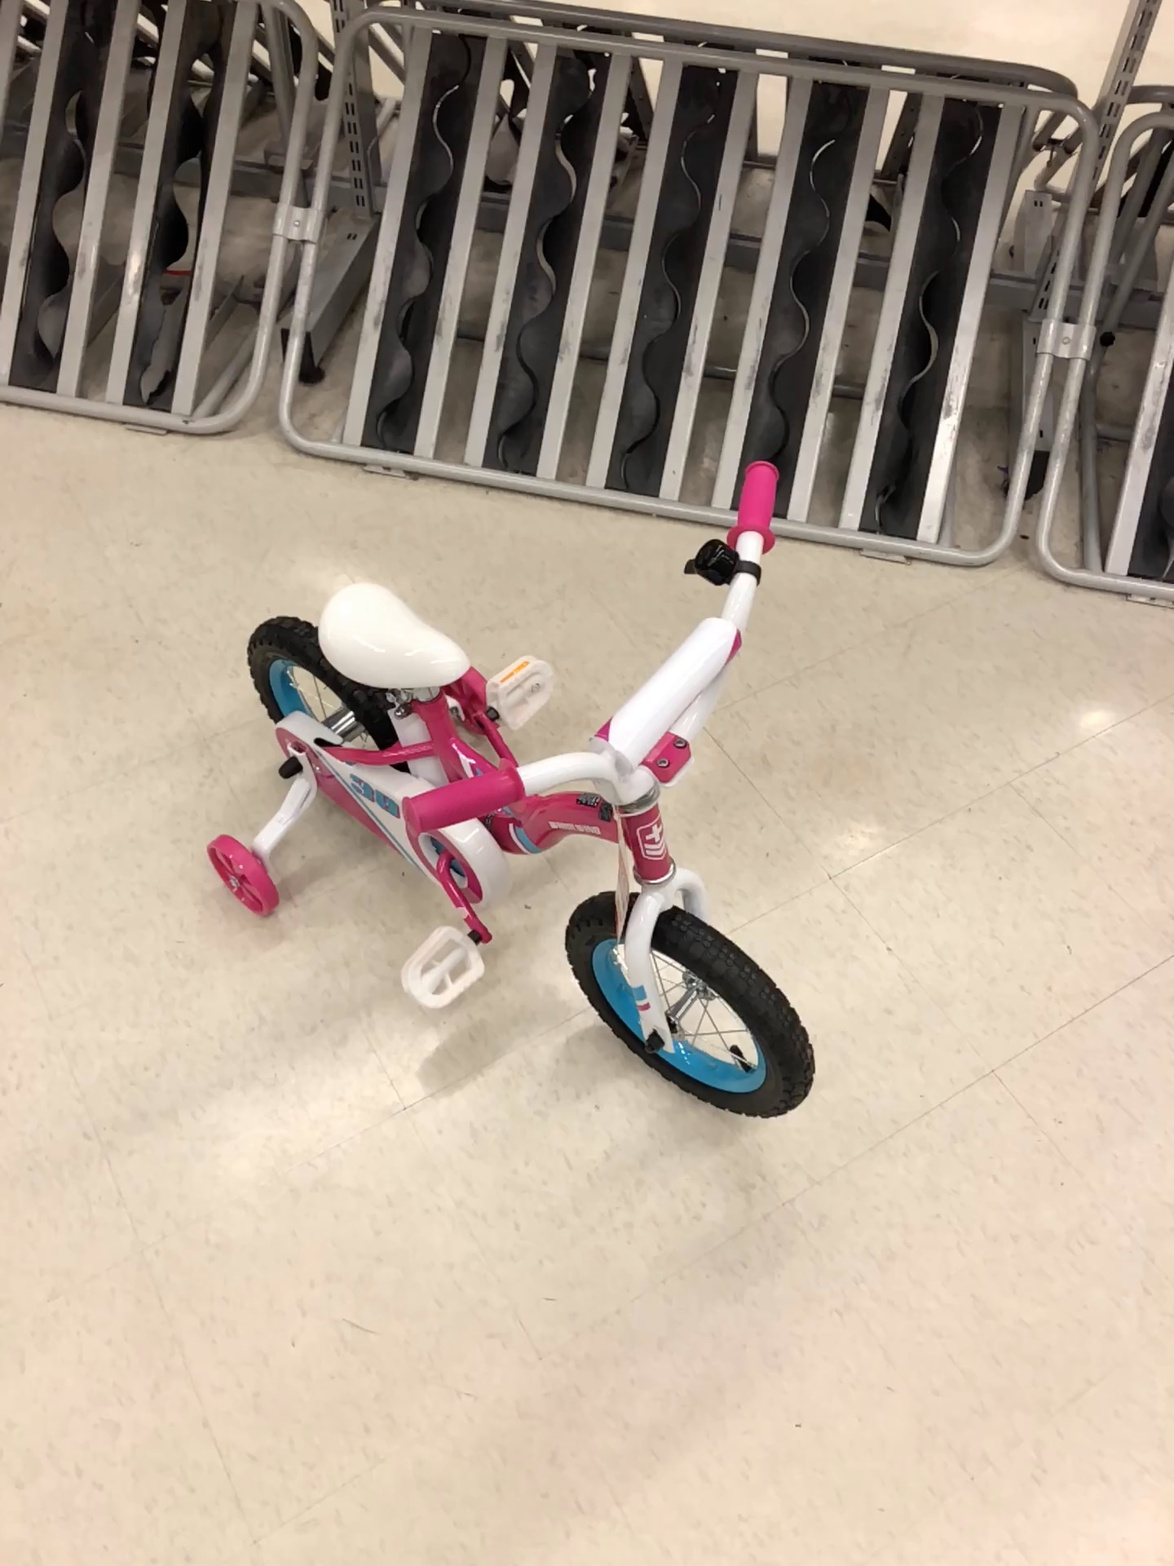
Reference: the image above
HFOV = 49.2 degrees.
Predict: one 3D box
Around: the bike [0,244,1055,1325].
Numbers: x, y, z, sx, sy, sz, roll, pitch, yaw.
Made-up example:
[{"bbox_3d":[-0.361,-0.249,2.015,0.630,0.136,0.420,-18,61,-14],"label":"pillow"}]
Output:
[{"bbox_3d":[-0.116,-0.017,1.266,0.816,0.625,0.462,35,59,25],"label":"bike"}]
